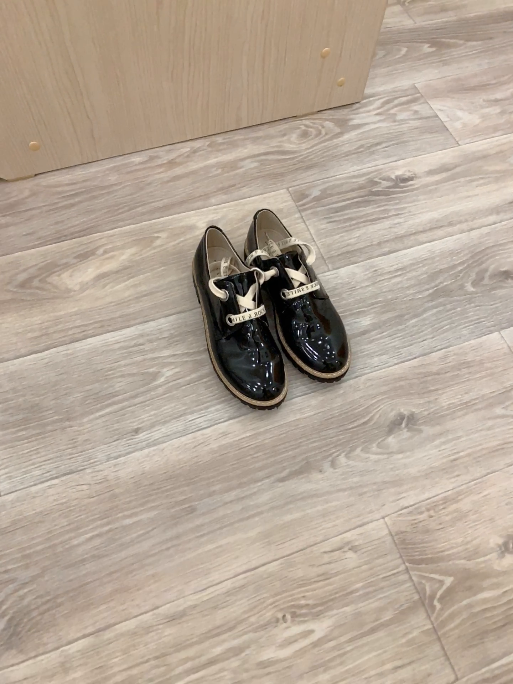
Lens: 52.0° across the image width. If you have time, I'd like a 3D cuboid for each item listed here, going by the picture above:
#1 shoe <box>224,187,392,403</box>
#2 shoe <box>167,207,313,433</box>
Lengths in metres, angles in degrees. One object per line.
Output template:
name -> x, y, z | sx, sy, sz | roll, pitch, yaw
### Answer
shoe -> 0.057, -0.070, 0.722 | 0.100, 0.100, 0.271 | -22, 65, -15
shoe -> -0.030, -0.035, 0.694 | 0.100, 0.100, 0.271 | -16, 64, -12
